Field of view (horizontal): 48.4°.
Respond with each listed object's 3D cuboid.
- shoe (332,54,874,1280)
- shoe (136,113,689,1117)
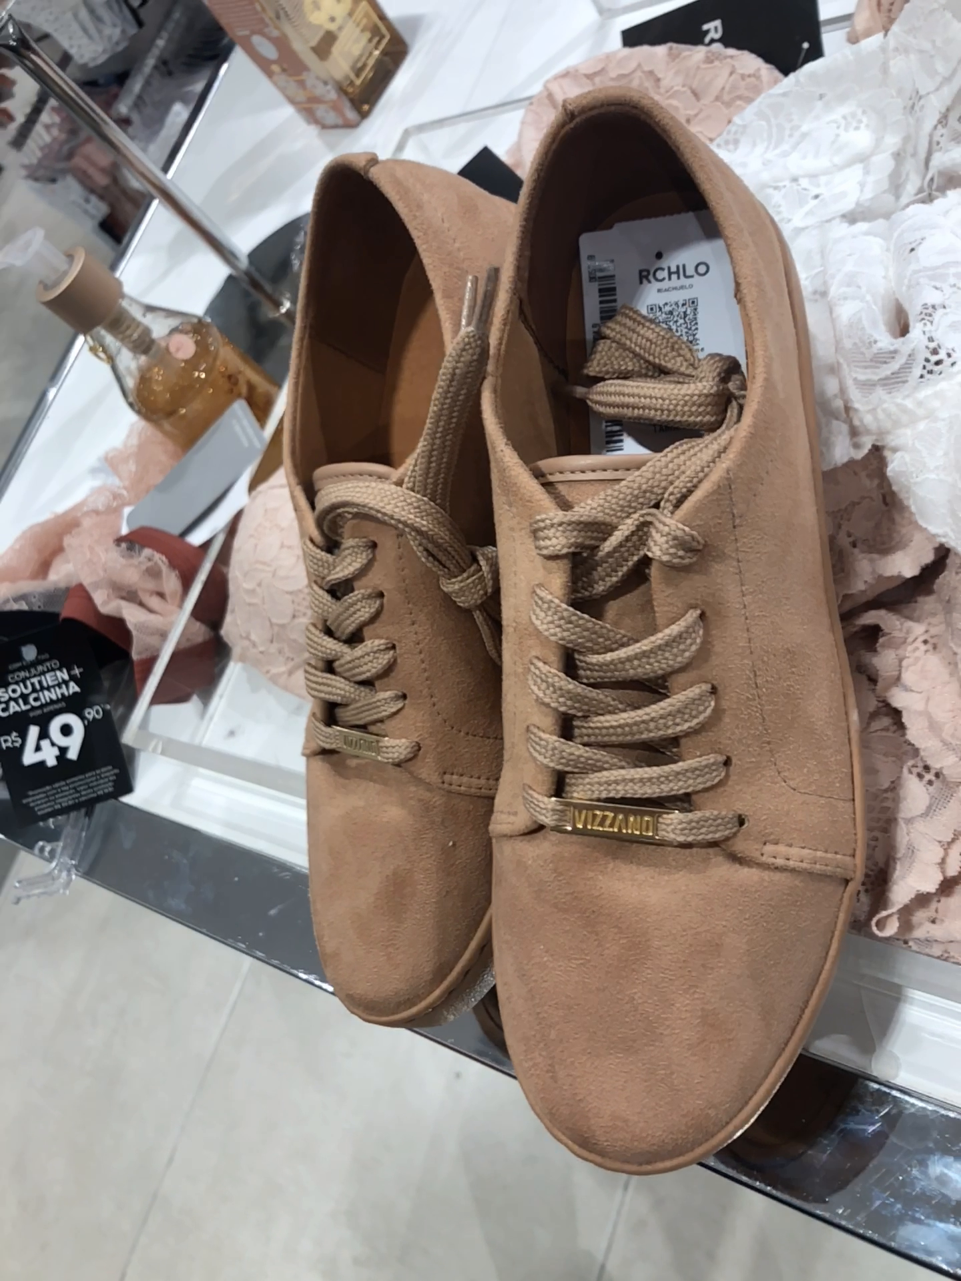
[{"bbox_3d":[0.041,0.010,0.254,0.090,0.100,0.240,1,80,21],"label":"shoe"},{"bbox_3d":[-0.016,-0.007,0.320,0.090,0.100,0.240,6,86,38],"label":"shoe"}]
